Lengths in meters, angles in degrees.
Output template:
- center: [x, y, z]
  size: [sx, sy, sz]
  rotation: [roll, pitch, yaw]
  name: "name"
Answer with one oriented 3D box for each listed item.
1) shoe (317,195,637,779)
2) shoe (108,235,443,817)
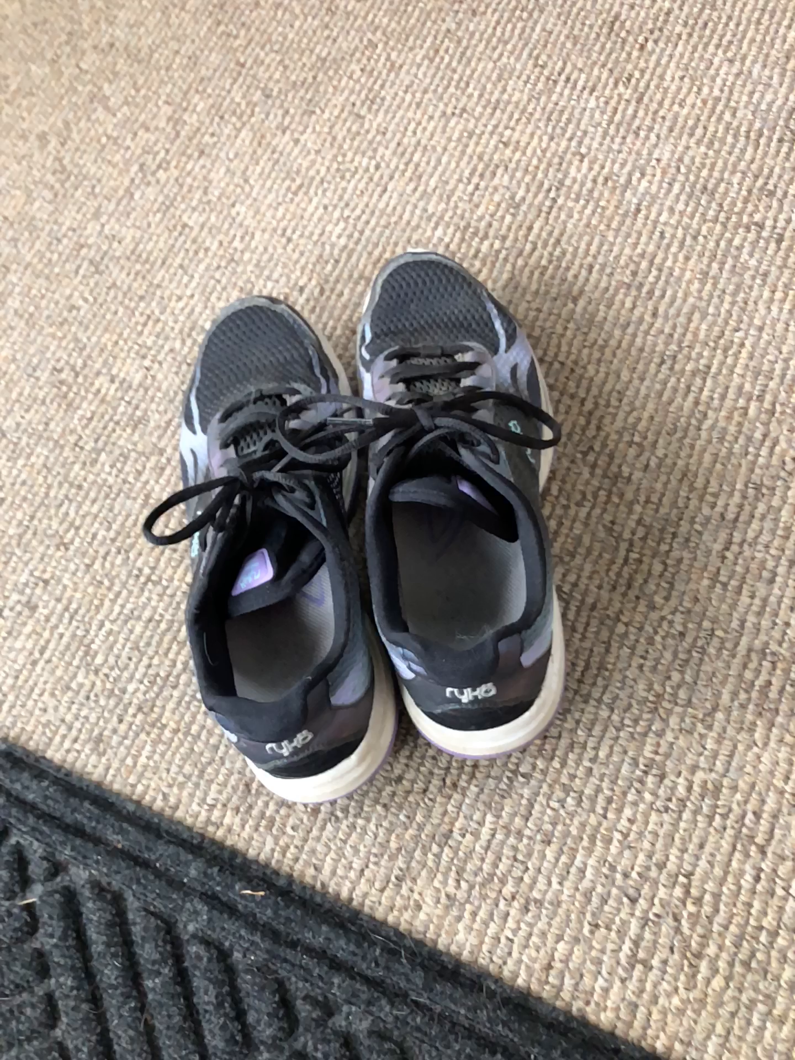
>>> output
- center: [0.033, -0.020, 0.438]
  size: [0.102, 0.104, 0.257]
  rotation: [-10, 68, 5]
  name: "shoe"
- center: [-0.062, -0.001, 0.446]
  size: [0.110, 0.104, 0.257]
  rotation: [-13, 68, 4]
  name: "shoe"
